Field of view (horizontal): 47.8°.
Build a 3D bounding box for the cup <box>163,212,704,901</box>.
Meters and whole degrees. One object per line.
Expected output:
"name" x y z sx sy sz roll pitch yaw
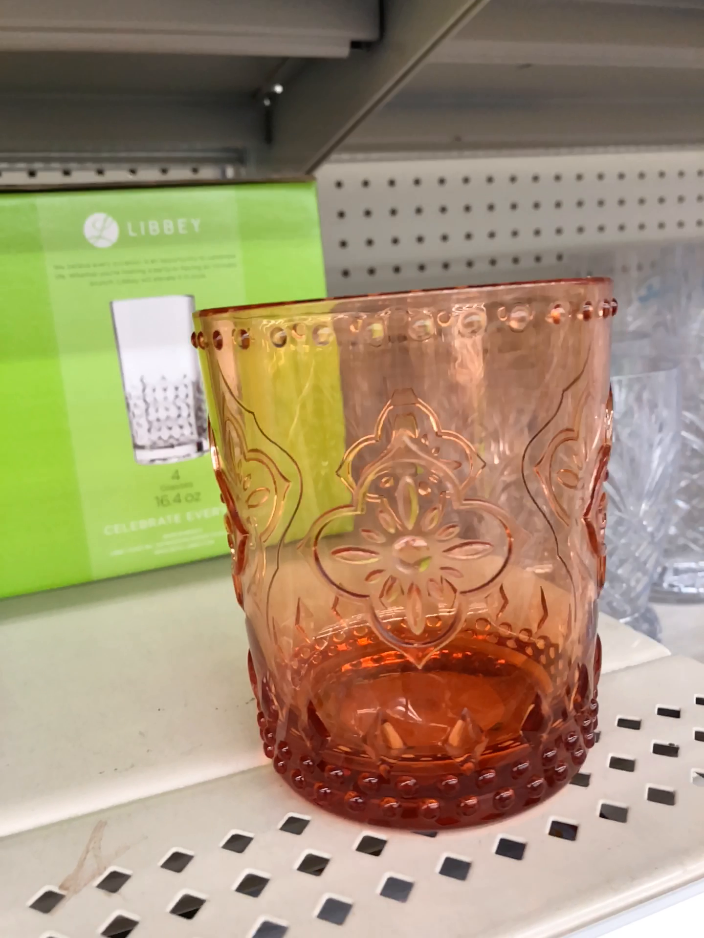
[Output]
"cup" 0.024 0.005 0.180 0.090 0.110 0.080 -14 15 -41
